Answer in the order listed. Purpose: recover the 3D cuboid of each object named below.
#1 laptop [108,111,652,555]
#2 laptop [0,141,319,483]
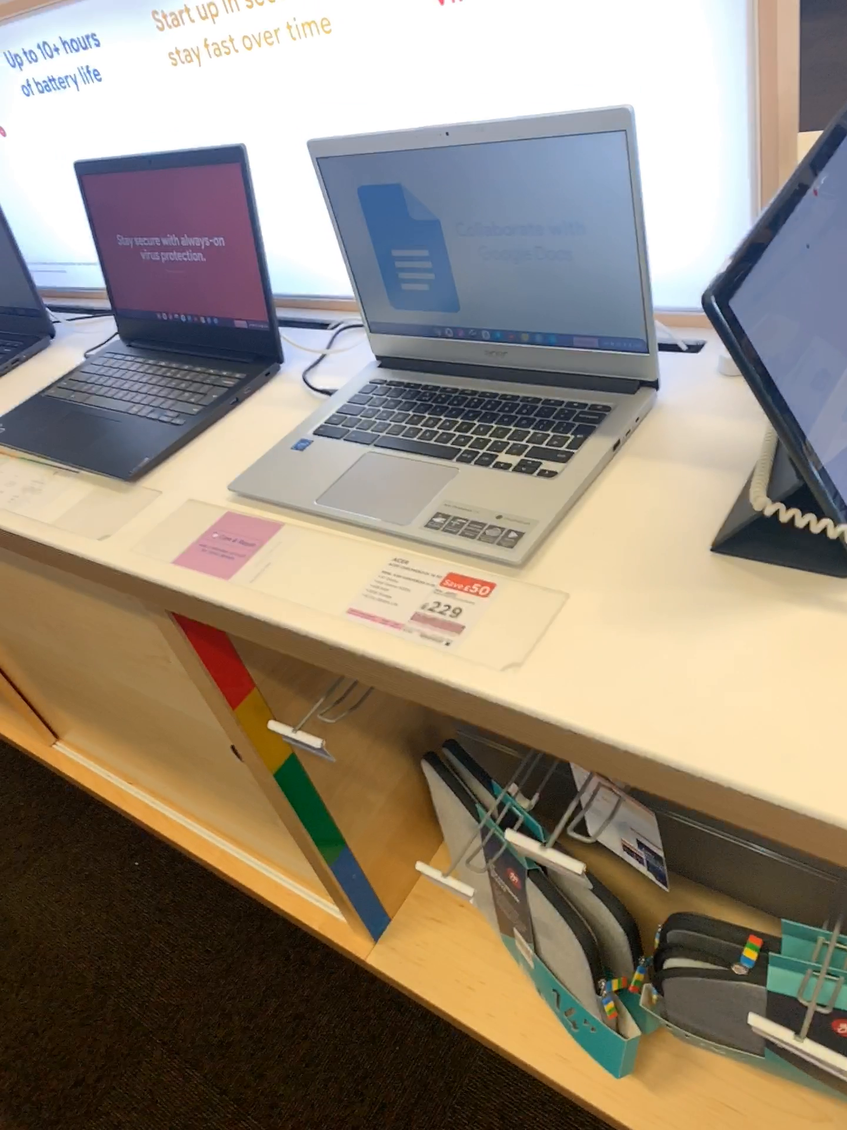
[{"bbox_3d":[-0.021,-0.191,0.676,0.304,0.206,0.238,14,49,35],"label":"laptop"},{"bbox_3d":[-0.350,-0.283,0.931,0.309,0.204,0.284,17,52,37],"label":"laptop"}]
